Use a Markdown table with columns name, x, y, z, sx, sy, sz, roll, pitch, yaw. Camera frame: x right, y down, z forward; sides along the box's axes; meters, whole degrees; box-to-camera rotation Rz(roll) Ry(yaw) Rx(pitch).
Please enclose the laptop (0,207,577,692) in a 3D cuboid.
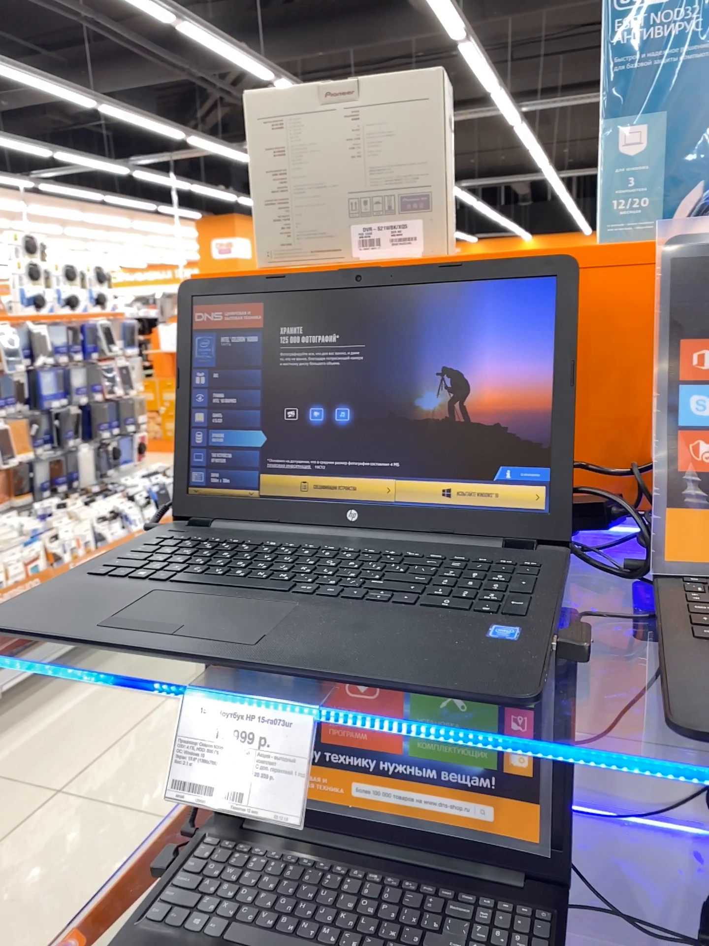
| name | x | y | z | sx | sy | sz | roll | pitch | yaw |
| --- | --- | --- | --- | --- | --- | --- | --- | --- | --- |
| laptop | -0.037 | -0.044 | 0.568 | 0.388 | 0.236 | 0.323 | 2 | 12 | 20 |
